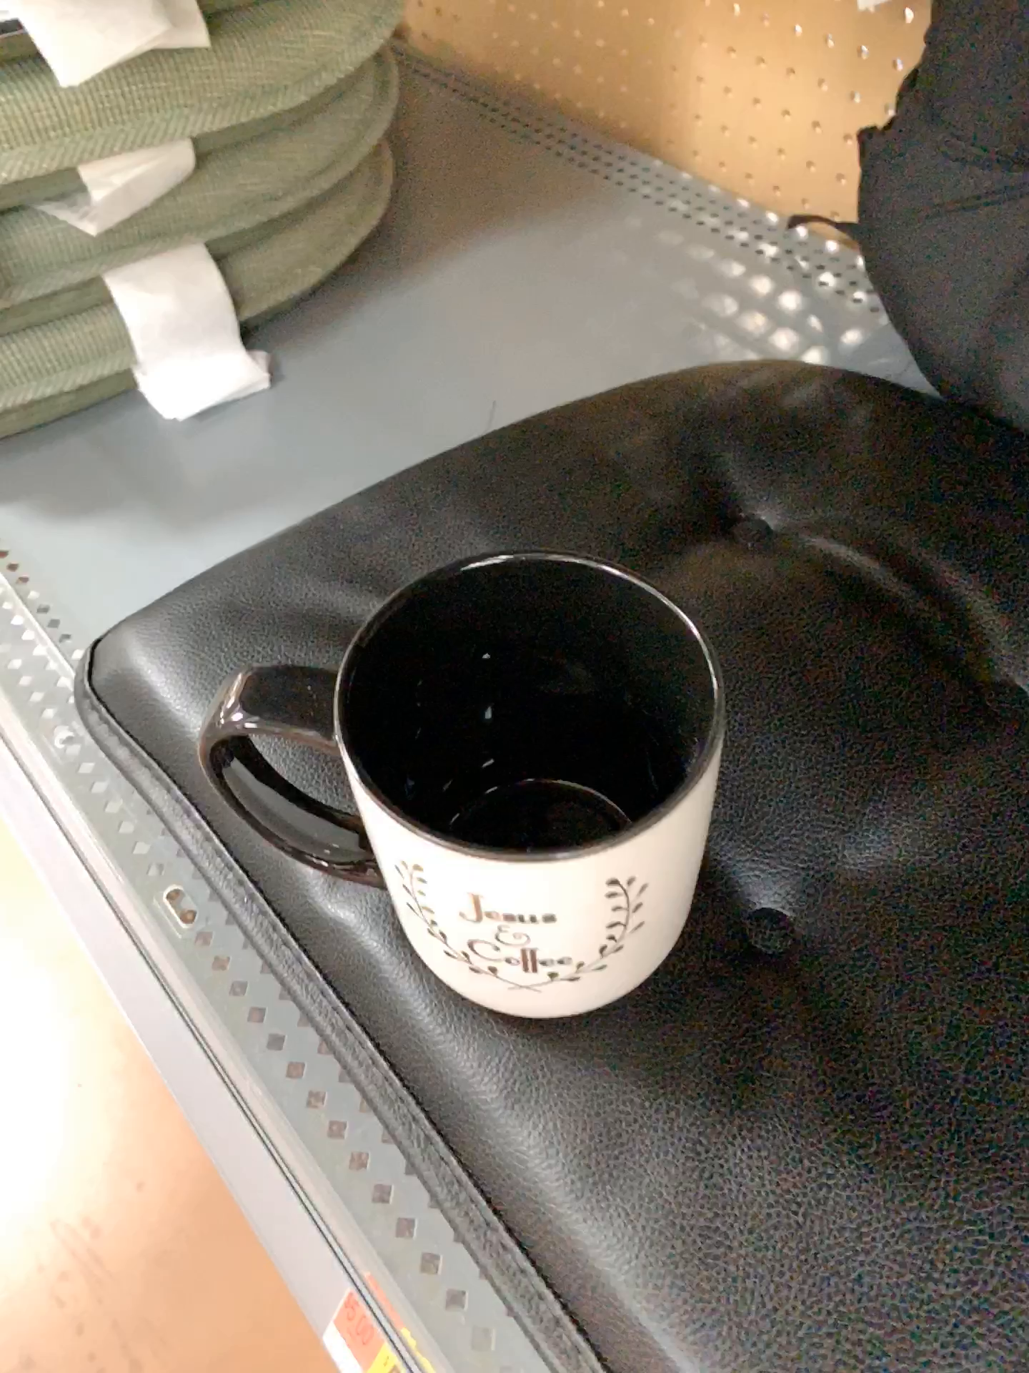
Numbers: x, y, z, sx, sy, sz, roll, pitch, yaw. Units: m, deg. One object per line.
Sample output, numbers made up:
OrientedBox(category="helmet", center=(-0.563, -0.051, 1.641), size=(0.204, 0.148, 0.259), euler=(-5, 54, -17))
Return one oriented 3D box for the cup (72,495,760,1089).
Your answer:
OrientedBox(category="cup", center=(-0.014, 0.027, 0.292), size=(0.142, 0.104, 0.102), euler=(8, 51, 11))
